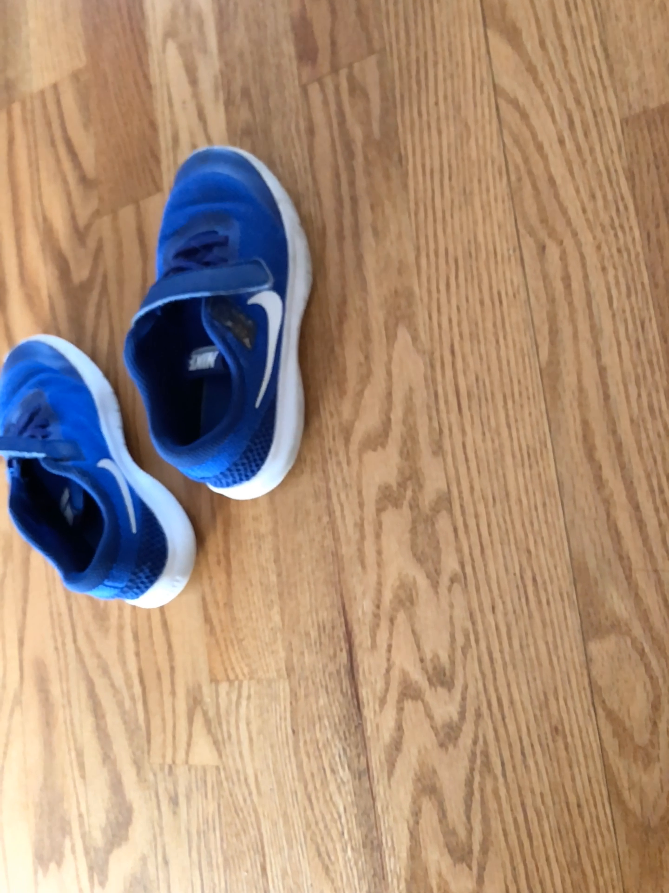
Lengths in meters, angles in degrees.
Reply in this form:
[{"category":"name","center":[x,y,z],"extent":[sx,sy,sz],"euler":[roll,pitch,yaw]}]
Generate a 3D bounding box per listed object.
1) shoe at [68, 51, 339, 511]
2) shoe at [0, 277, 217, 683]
[{"category":"shoe","center":[-0.071,-0.077,0.413],"extent":[0.093,0.092,0.214],"euler":[-10,82,27]},{"category":"shoe","center":[-0.181,0.016,0.458],"extent":[0.093,0.092,0.214],"euler":[-42,69,19]}]
